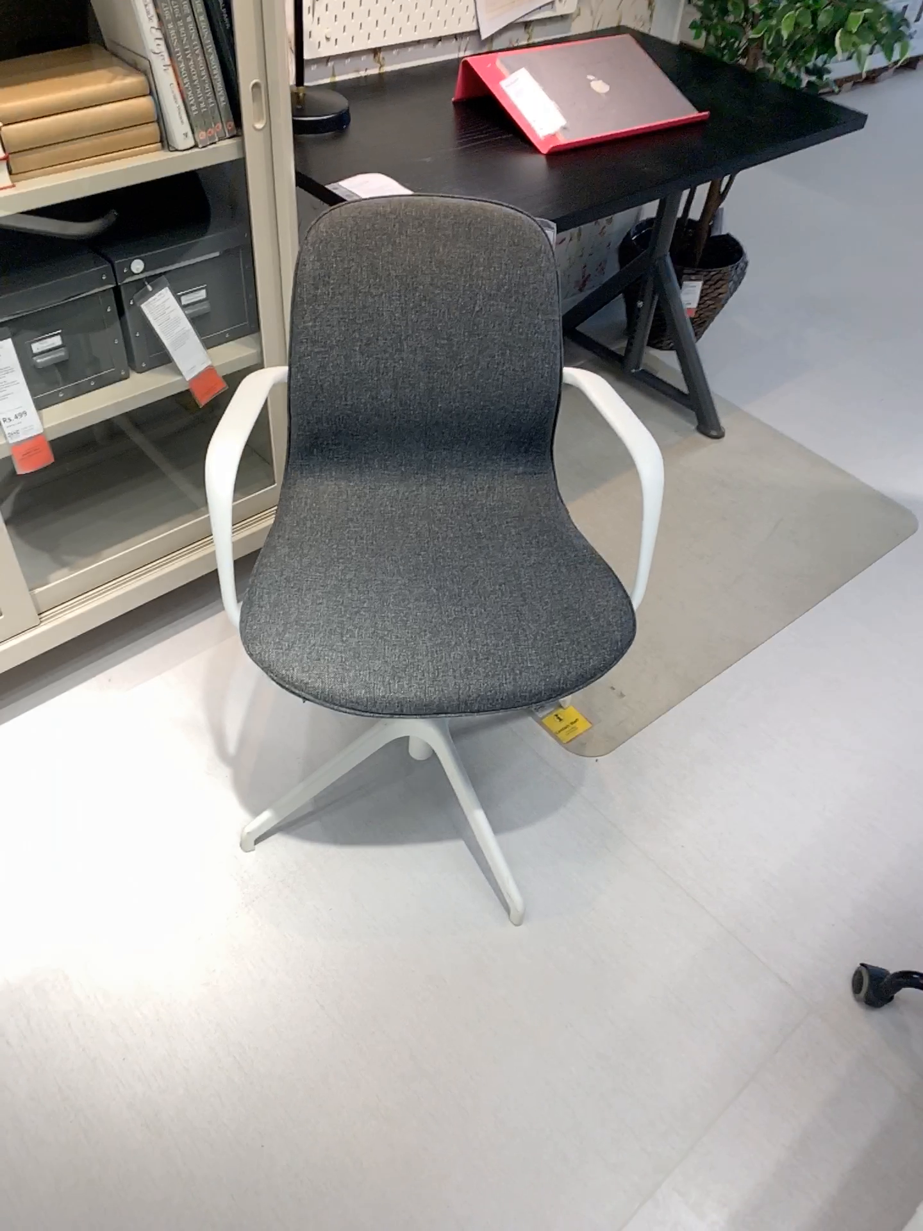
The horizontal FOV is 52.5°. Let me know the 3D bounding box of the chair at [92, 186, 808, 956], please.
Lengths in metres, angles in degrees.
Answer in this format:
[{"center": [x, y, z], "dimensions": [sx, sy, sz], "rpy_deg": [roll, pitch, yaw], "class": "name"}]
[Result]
[{"center": [-0.067, -0.042, 1.322], "dimensions": [0.620, 0.837, 0.642], "rpy_deg": [-3, 47, -8], "class": "chair"}]
